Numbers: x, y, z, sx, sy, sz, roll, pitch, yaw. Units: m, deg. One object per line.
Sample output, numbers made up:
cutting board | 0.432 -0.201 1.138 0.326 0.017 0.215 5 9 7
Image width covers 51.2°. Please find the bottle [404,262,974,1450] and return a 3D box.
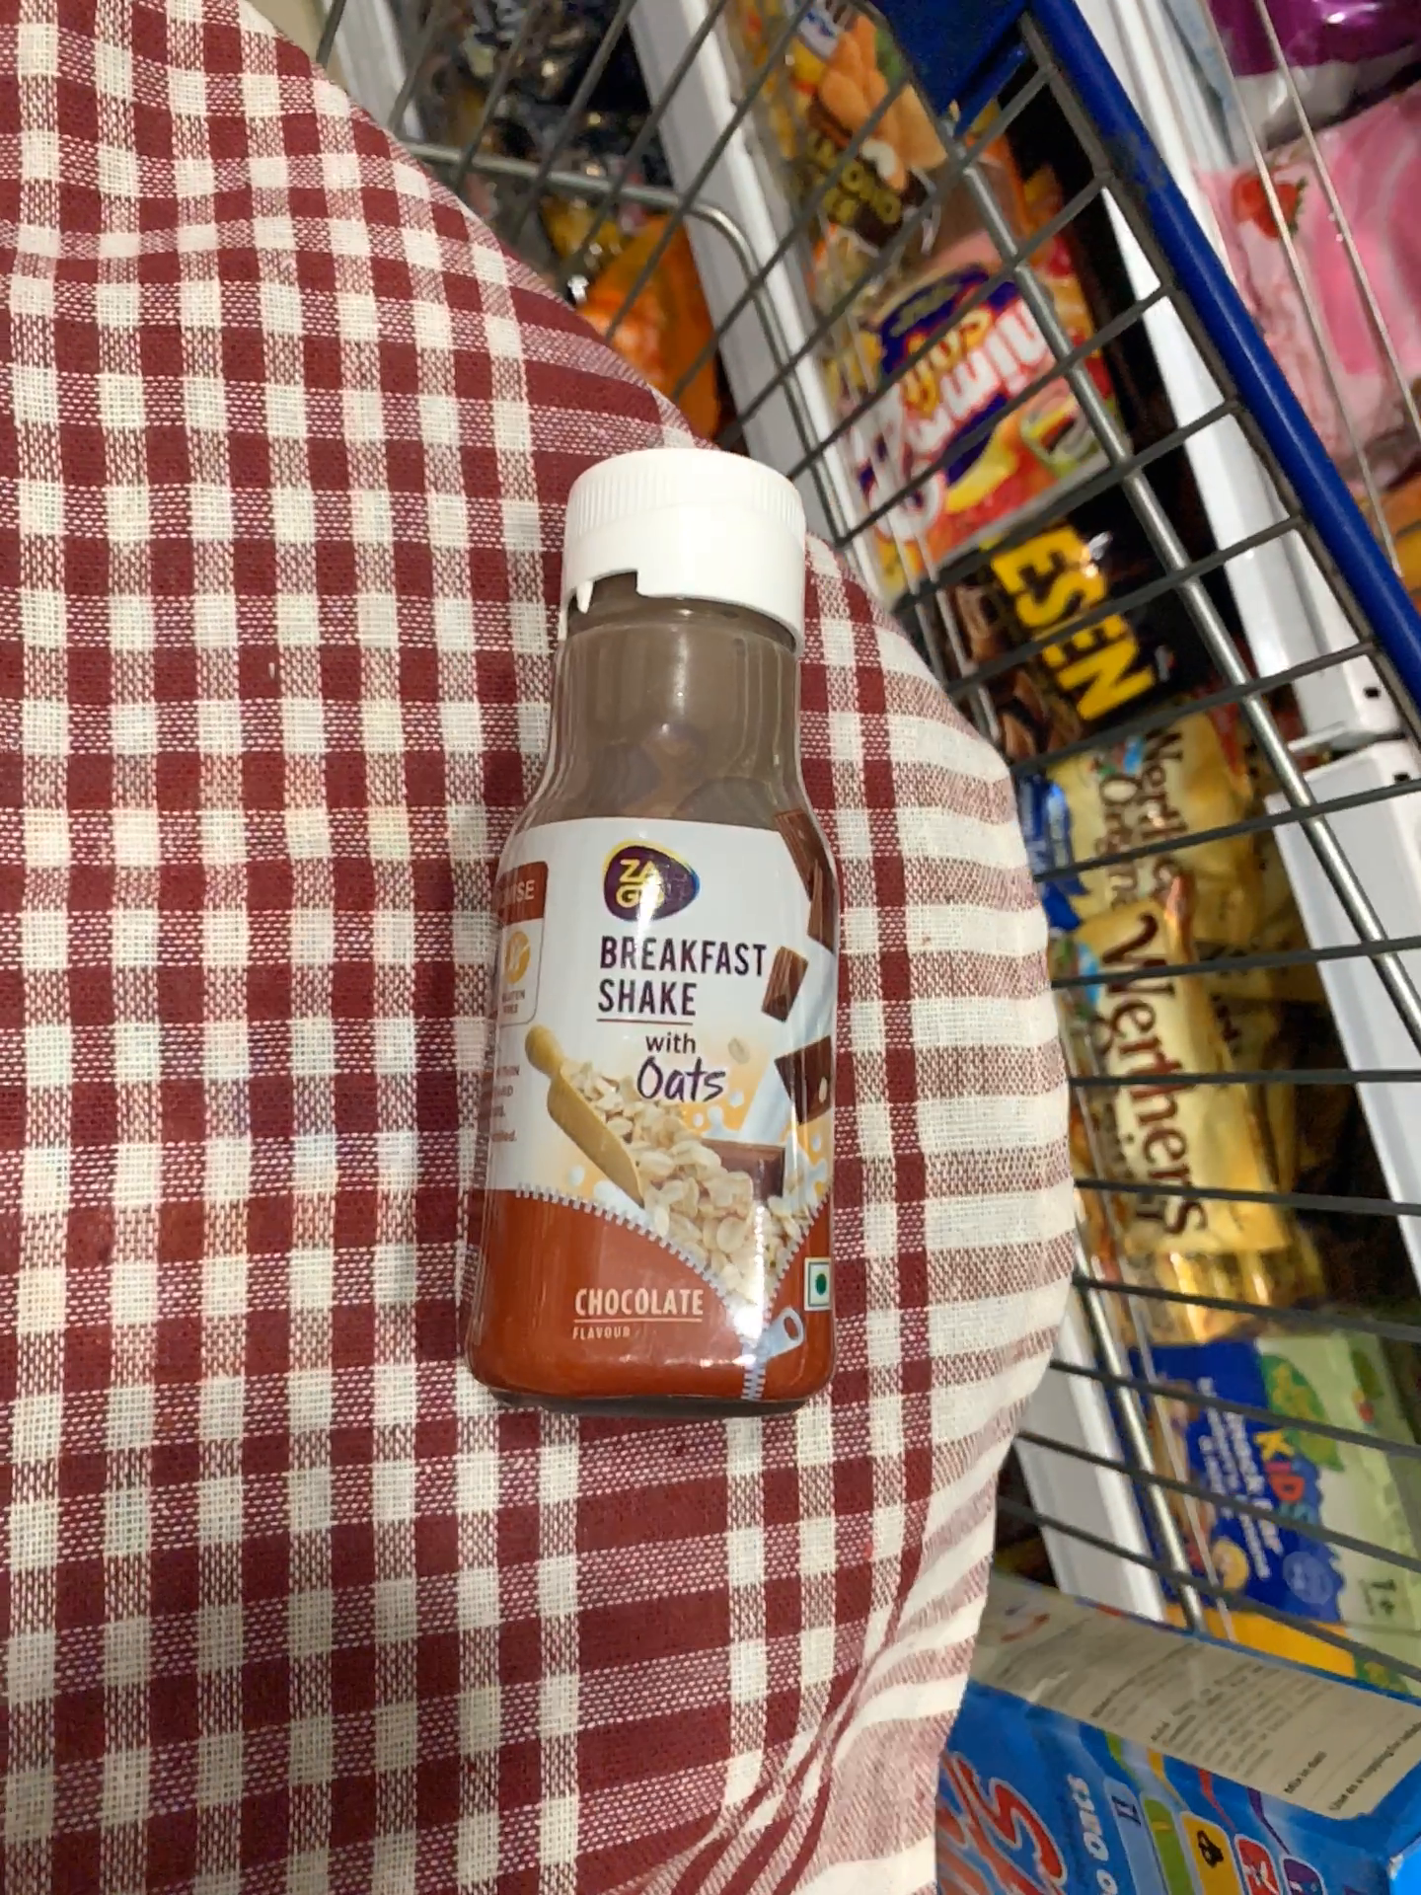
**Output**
bottle | -0.004 -0.010 0.217 0.060 0.050 0.150 7 83 -15
